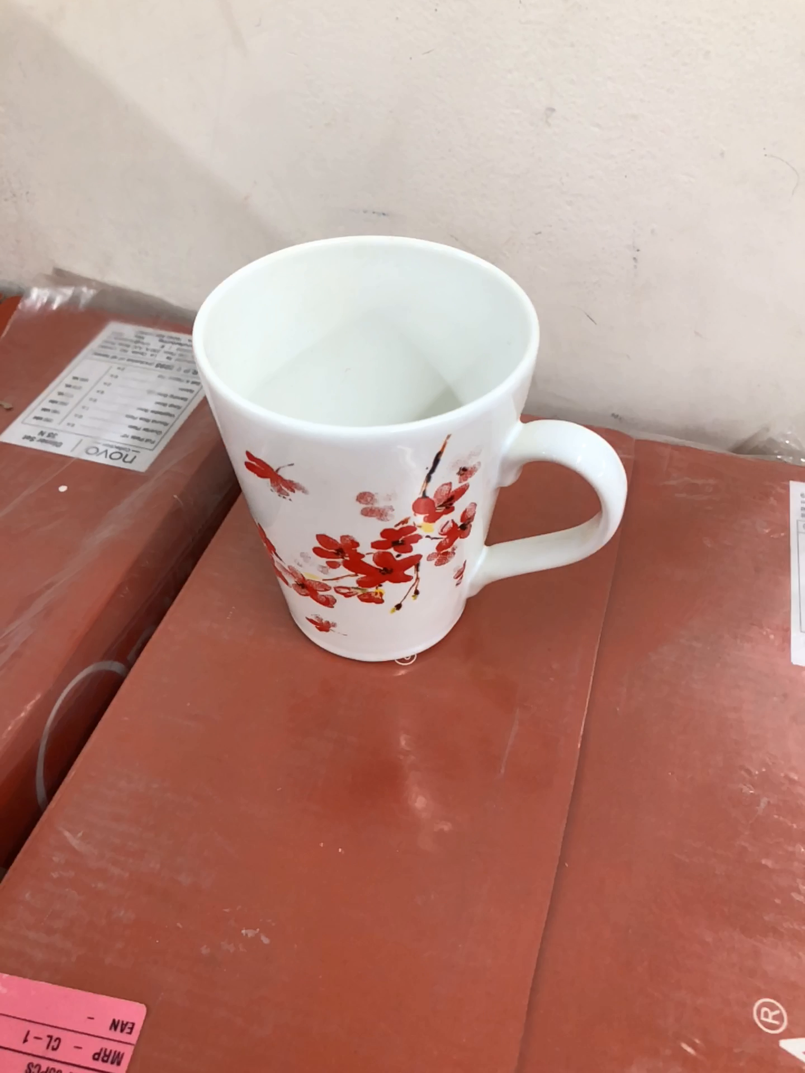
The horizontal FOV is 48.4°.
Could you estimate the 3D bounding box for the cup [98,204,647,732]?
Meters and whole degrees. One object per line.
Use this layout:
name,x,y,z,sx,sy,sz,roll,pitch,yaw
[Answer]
cup,-0.001,-0.018,0.242,0.110,0.099,0.081,9,47,9
